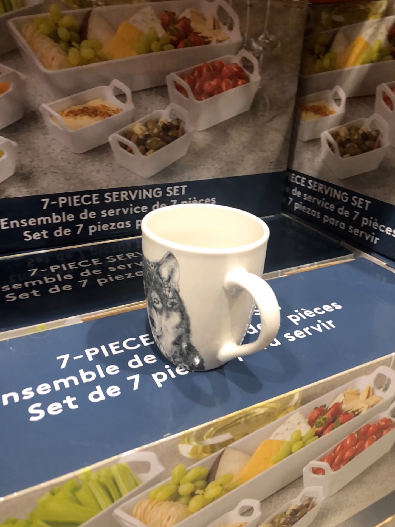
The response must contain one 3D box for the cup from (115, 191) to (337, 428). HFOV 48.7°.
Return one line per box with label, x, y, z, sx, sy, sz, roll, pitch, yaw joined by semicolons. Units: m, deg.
cup;0.010;0.019;0.312;0.093;0.102;0.129;-12;28;-28
